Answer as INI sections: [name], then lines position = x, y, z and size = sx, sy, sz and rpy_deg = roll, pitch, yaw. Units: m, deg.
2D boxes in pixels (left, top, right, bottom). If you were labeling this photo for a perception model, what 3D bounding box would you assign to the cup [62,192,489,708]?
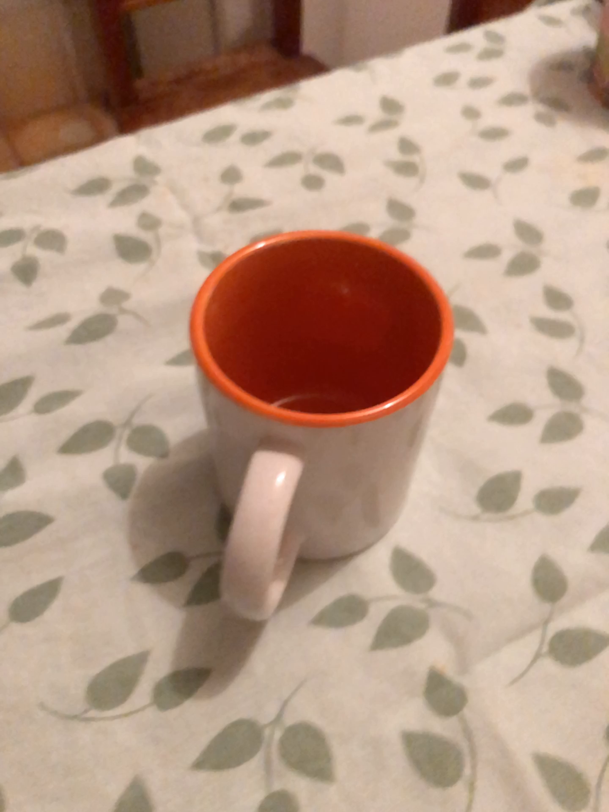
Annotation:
[cup]
position = -0.001, 0.015, 0.230
size = 0.080, 0.099, 0.121
rpy_deg = 17, 57, 9
